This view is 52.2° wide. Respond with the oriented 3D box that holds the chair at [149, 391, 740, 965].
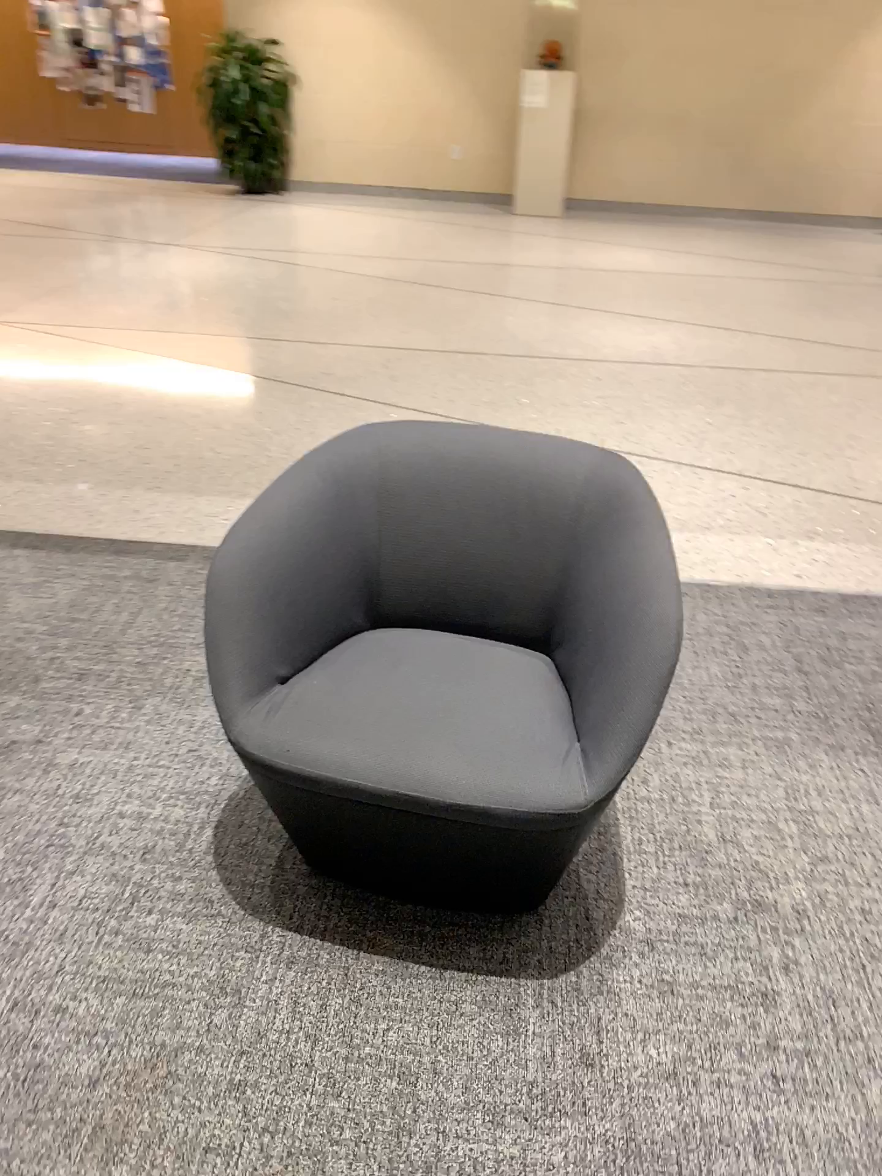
[{"bbox_3d":[0.034,0.109,1.596,0.778,0.658,0.636,8,31,9],"label":"chair"}]
